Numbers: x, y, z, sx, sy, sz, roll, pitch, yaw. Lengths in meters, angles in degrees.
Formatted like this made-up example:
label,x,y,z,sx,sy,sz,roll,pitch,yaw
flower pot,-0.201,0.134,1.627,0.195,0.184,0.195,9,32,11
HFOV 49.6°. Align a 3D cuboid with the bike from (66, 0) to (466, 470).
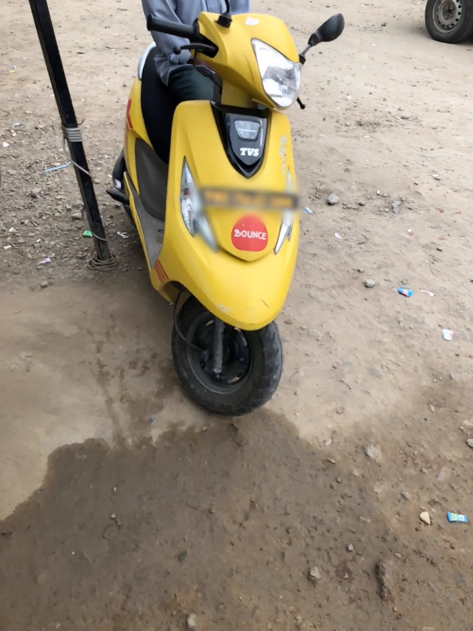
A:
label,x,y,z,sx,sy,sz,roll,pitch,yaw
bike,-0.099,-0.545,2.057,0.890,1.160,1.662,-9,42,-11
